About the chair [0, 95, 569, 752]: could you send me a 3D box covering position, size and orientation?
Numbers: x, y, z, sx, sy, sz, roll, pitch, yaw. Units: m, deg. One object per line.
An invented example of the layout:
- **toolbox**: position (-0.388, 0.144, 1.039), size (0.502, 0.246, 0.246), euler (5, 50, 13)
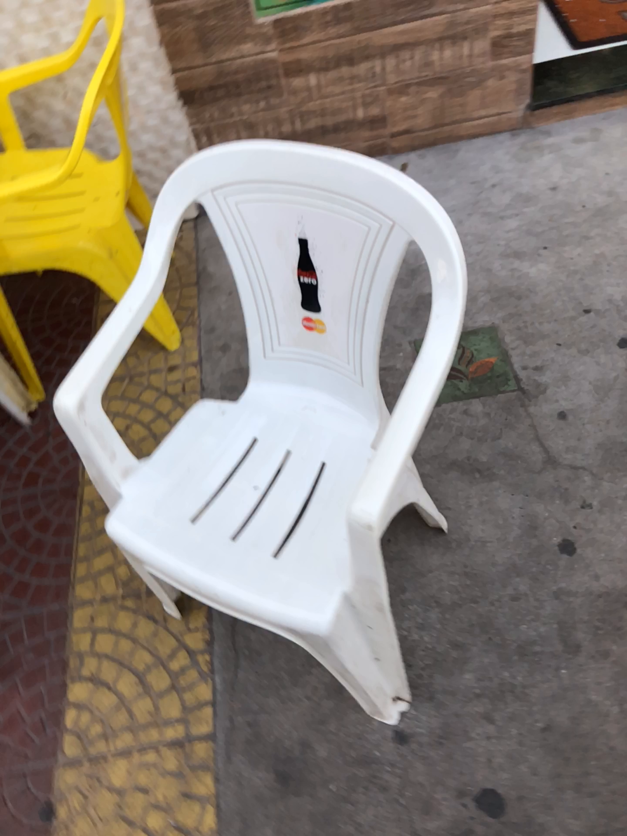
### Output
- **chair**: position (-0.054, 0.032, 1.093), size (0.641, 0.746, 0.552), euler (19, 60, 23)
